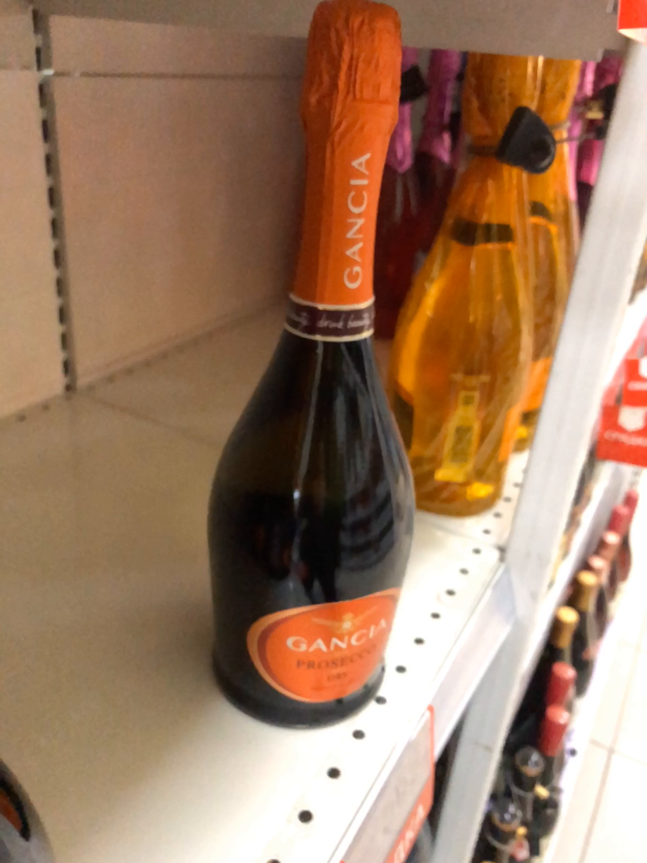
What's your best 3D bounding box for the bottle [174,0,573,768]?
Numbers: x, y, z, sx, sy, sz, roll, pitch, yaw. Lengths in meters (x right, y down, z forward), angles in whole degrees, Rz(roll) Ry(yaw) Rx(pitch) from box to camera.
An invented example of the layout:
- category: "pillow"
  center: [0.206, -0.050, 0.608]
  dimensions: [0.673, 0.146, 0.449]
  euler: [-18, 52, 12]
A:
- category: "bottle"
  center: [-0.002, -0.015, 0.313]
  dimensions: [0.100, 0.308, 0.100]
  euler: [4, 27, -2]
